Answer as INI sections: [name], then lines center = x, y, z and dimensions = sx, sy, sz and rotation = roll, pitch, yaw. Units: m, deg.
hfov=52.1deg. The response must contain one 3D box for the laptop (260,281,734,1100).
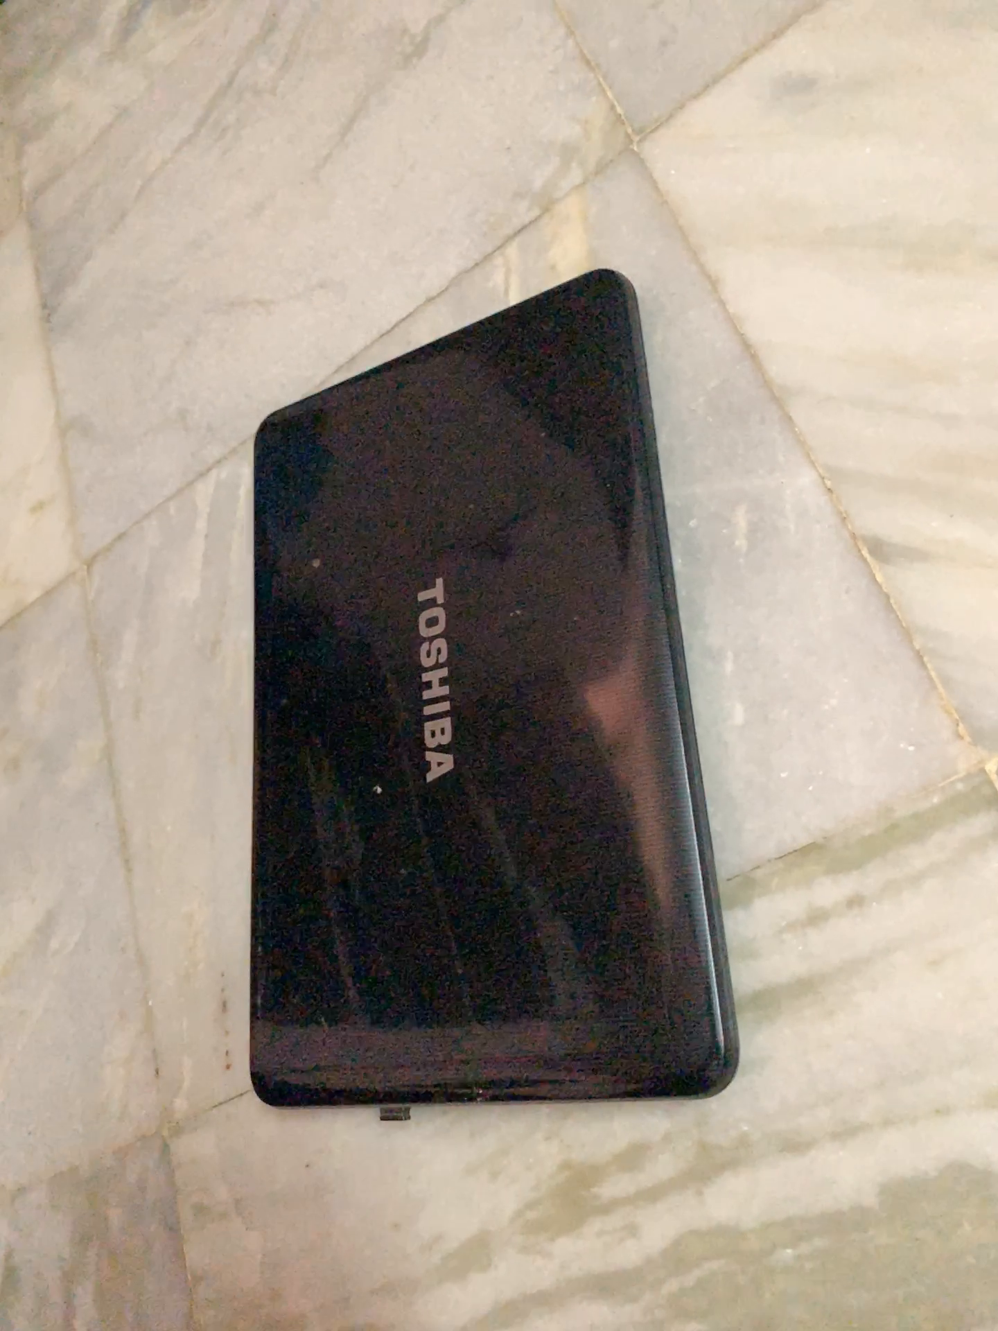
[laptop]
center = -0.025, 0.010, 0.484
dimensions = 0.223, 0.003, 0.355
rotation = -14, 70, 26
